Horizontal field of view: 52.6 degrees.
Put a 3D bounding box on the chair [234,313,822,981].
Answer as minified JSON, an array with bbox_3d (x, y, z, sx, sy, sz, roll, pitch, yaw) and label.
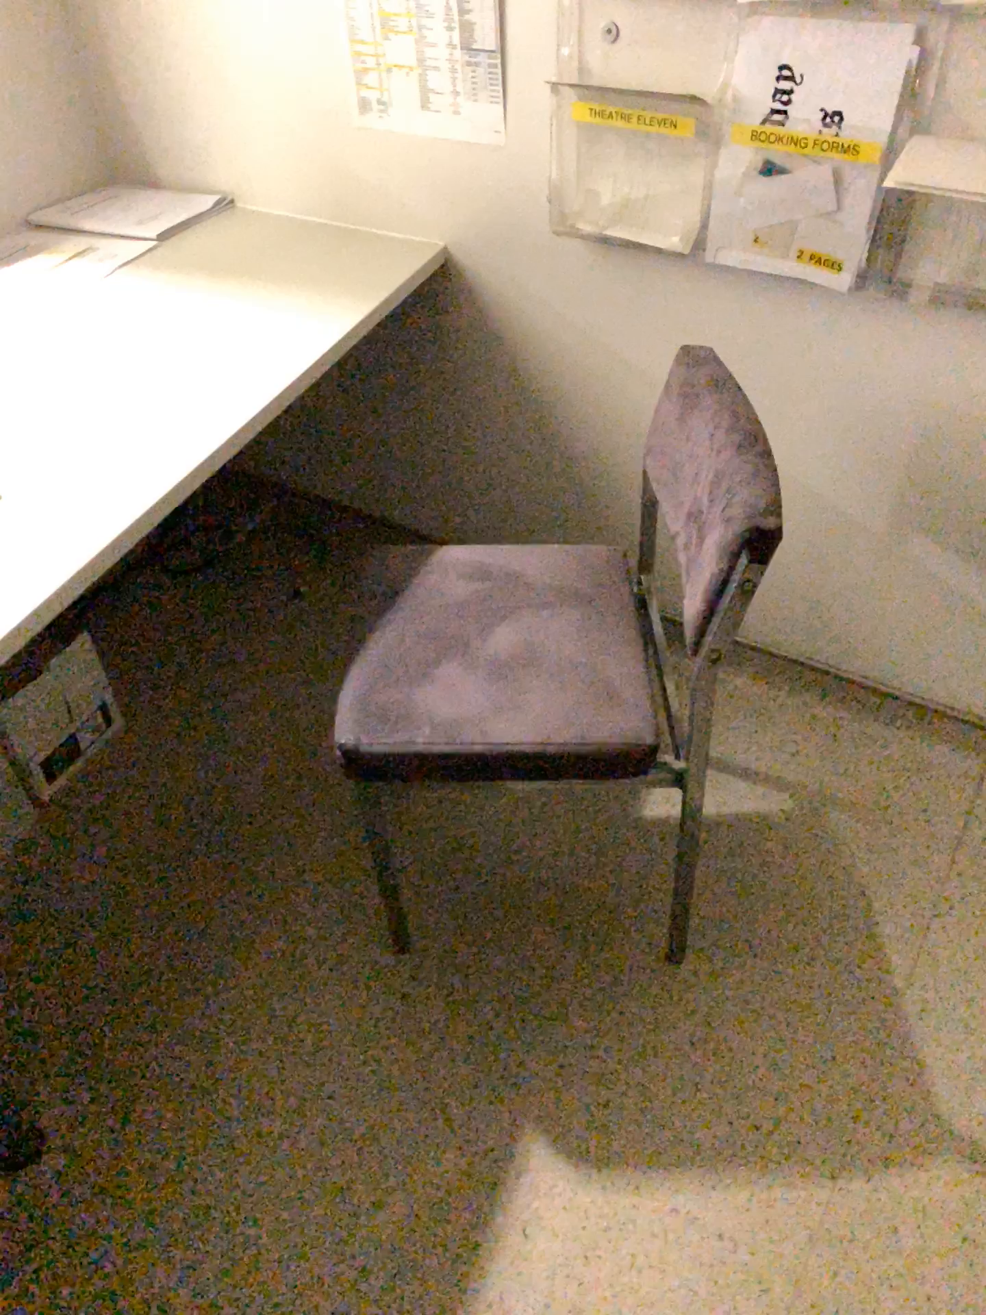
[{"bbox_3d":[0.050,-0.005,1.346,0.540,0.693,0.545,-2,40,2],"label":"chair"}]
